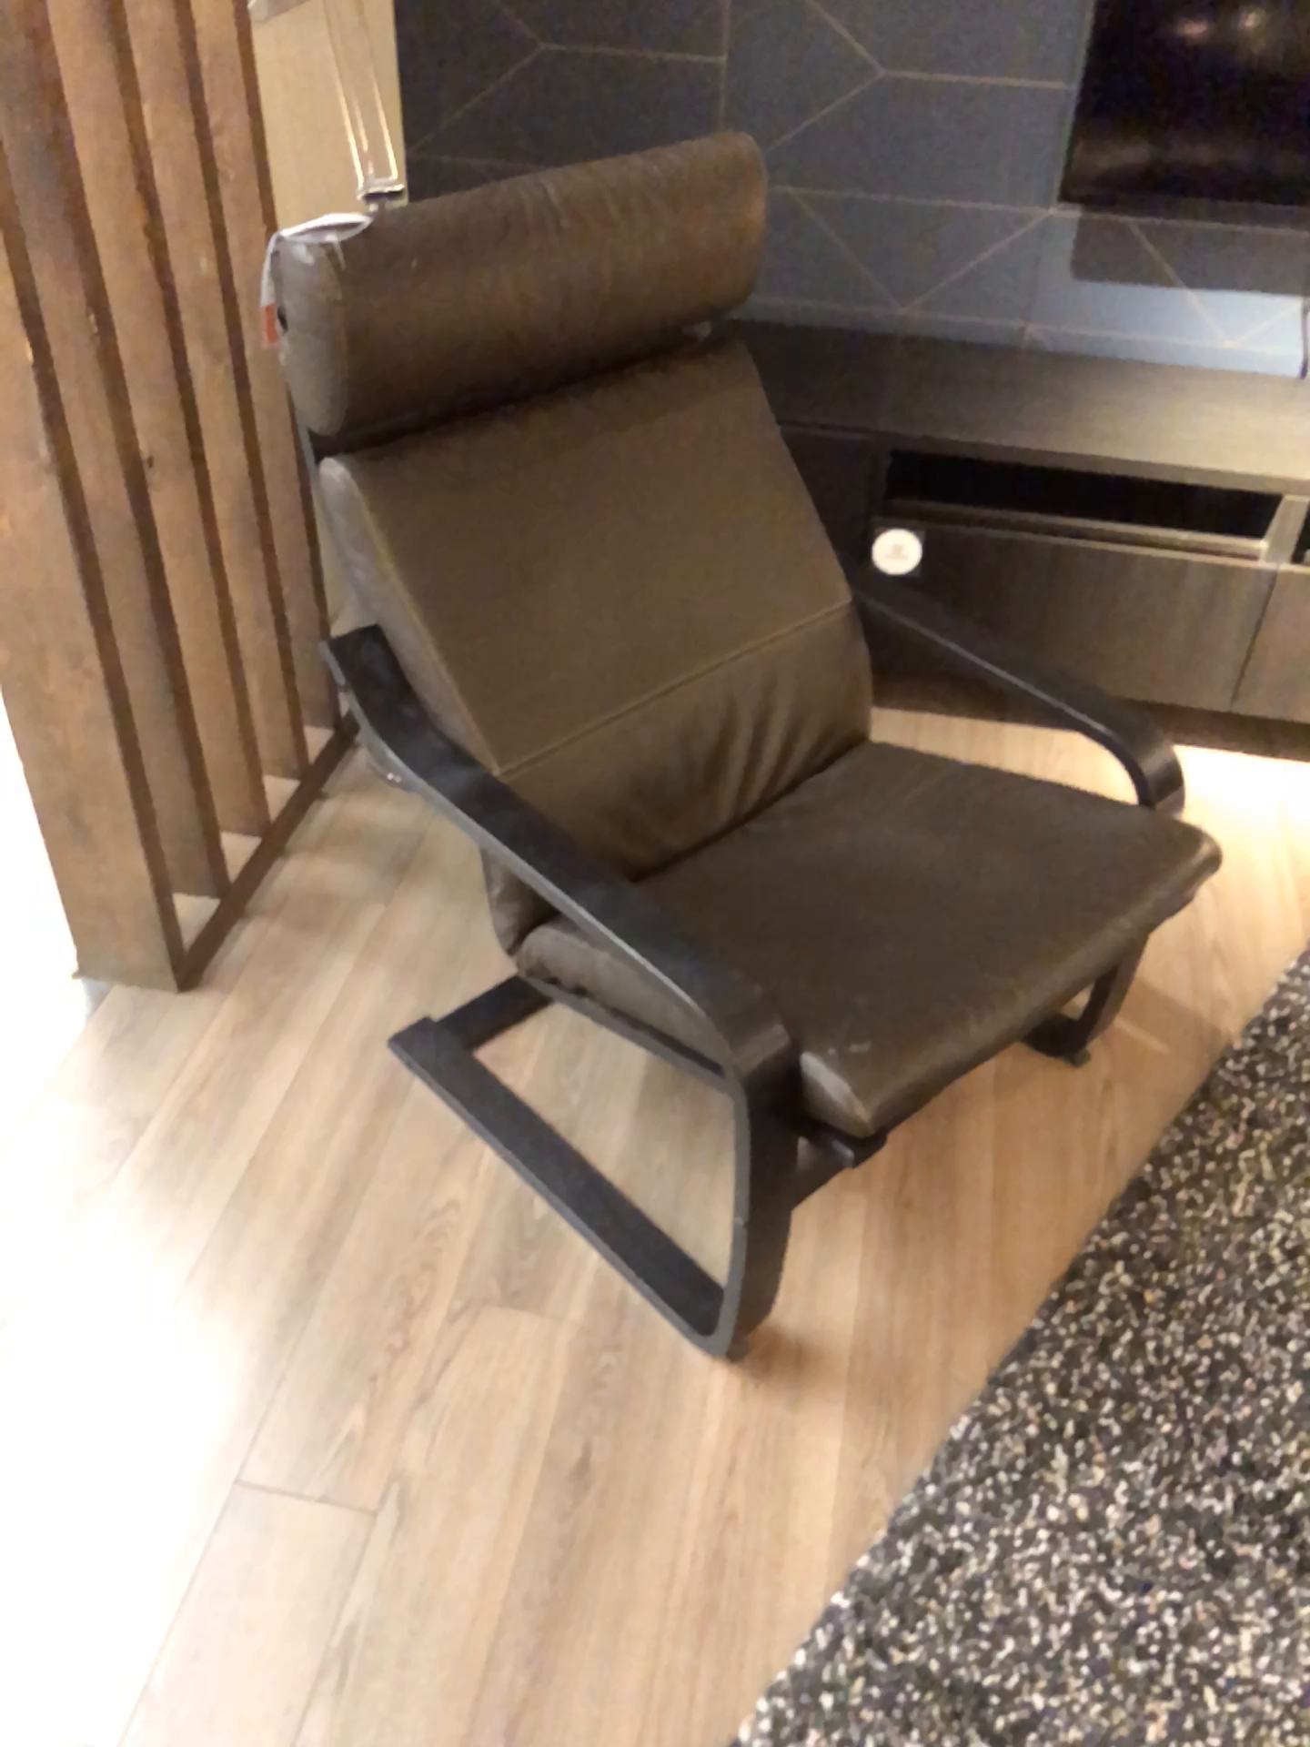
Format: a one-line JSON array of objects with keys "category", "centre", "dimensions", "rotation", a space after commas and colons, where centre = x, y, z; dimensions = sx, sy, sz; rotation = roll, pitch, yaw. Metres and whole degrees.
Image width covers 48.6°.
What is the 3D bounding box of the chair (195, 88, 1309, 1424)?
[{"category": "chair", "centre": [0.154, -0.179, 1.452], "dimensions": [0.782, 0.876, 0.731], "rotation": [-31, 50, -33]}]
